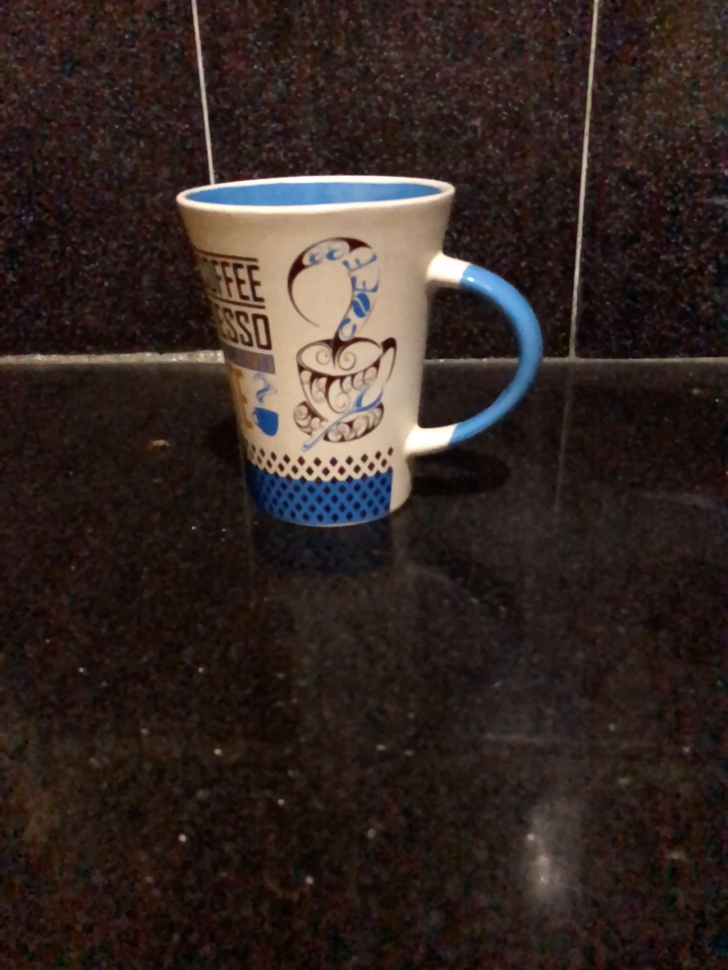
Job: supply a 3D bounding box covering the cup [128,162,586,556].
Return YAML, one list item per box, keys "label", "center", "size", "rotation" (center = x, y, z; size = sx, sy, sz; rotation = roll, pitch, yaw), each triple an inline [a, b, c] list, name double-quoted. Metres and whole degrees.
- label: "cup"
  center: [0.006, -0.052, 0.286]
  size: [0.130, 0.109, 0.091]
  rotation: [6, 26, 15]
